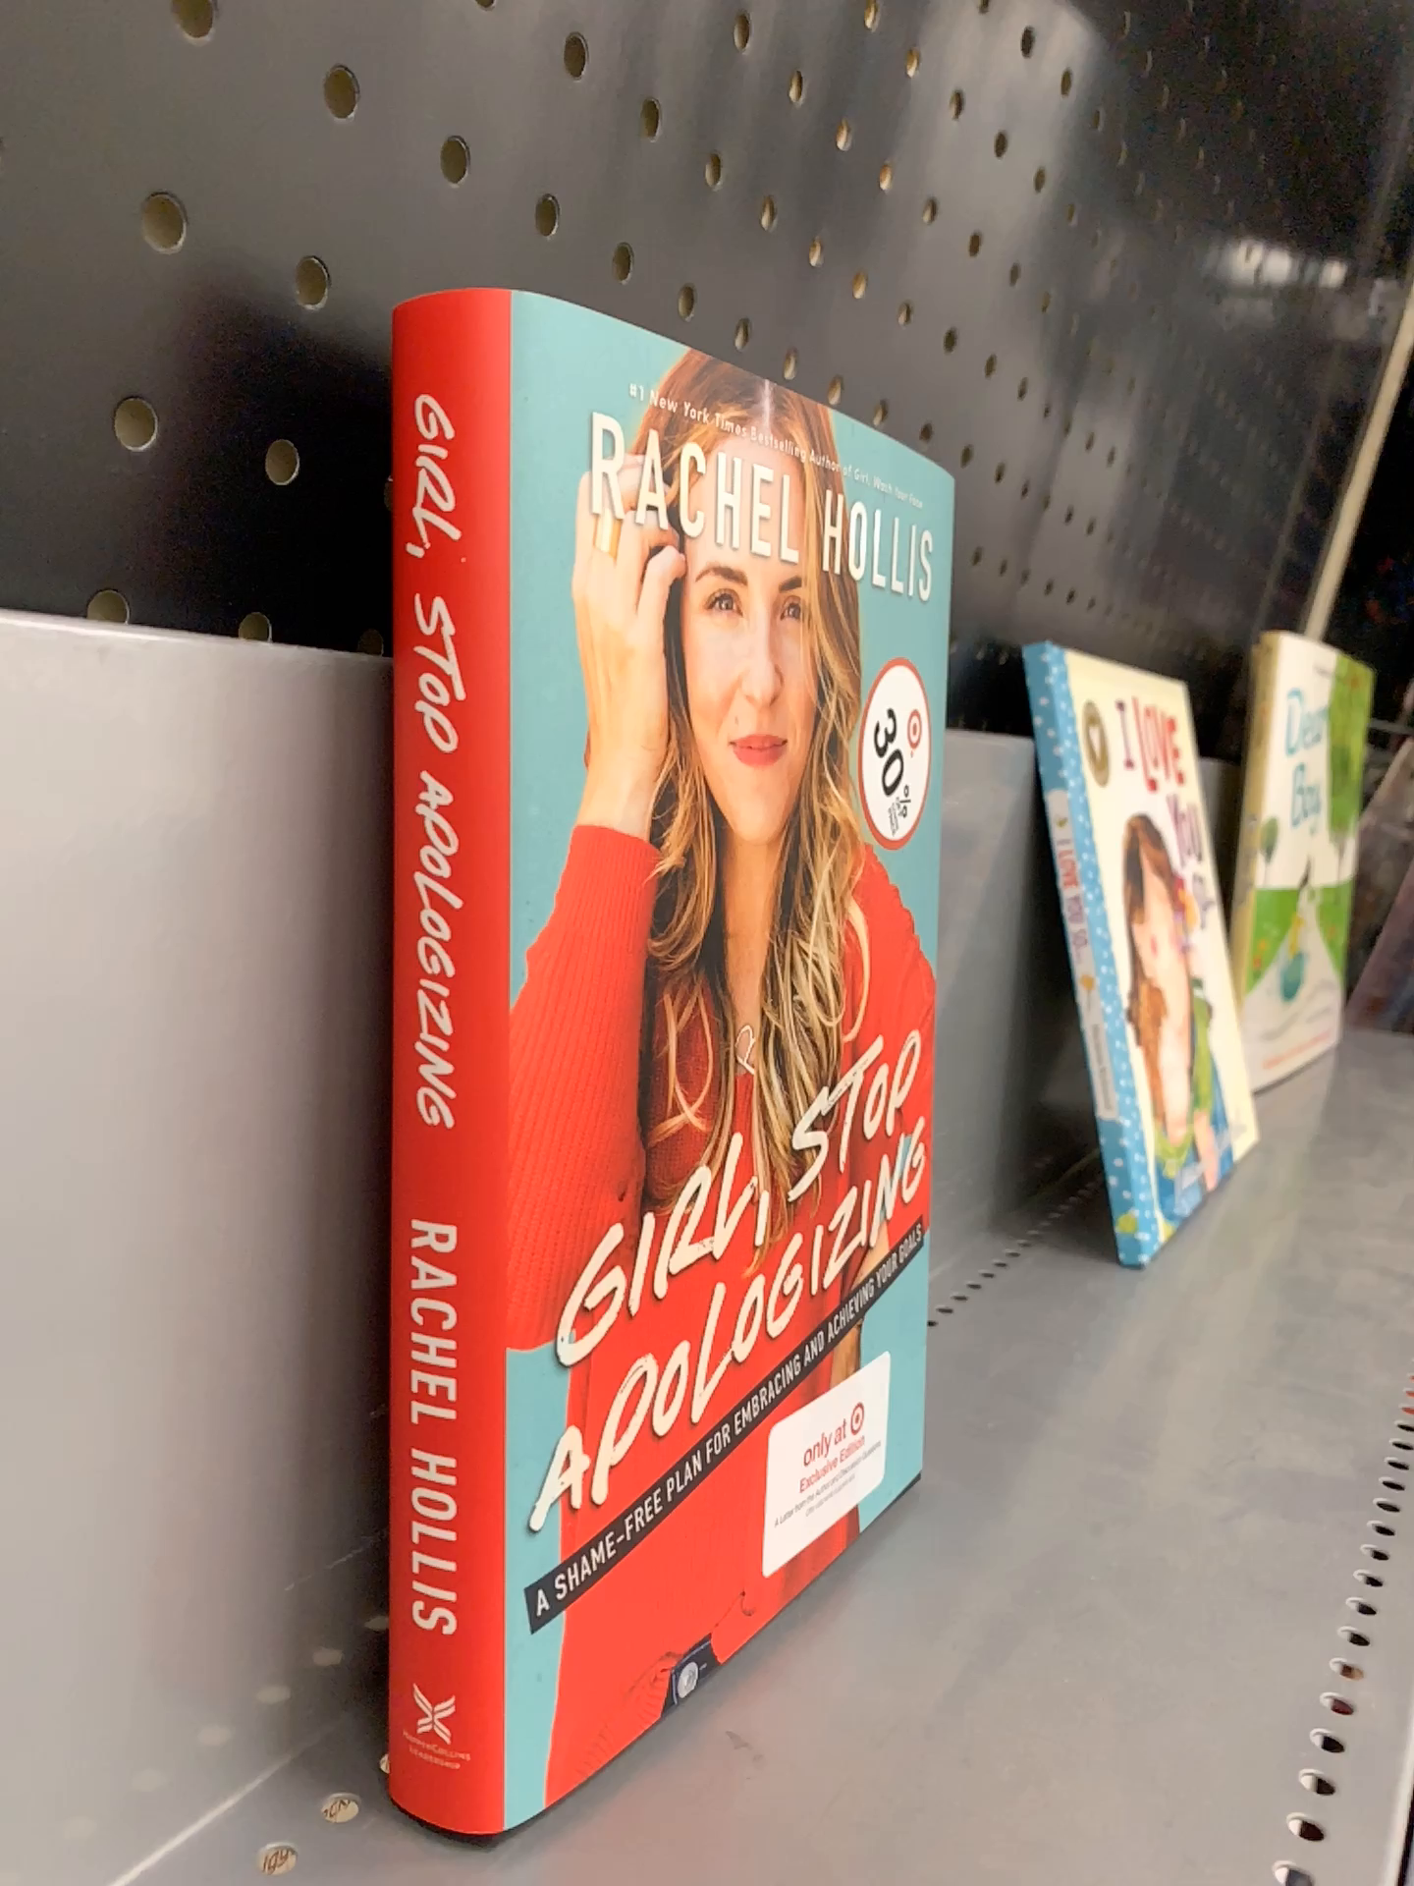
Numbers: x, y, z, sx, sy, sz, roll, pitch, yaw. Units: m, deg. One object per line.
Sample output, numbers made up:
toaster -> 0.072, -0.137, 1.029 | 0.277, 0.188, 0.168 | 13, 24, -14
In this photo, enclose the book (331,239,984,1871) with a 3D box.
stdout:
book -> 0.001, 0.014, 0.268 | 0.035, 0.220, 0.149 | 4, 6, 33
